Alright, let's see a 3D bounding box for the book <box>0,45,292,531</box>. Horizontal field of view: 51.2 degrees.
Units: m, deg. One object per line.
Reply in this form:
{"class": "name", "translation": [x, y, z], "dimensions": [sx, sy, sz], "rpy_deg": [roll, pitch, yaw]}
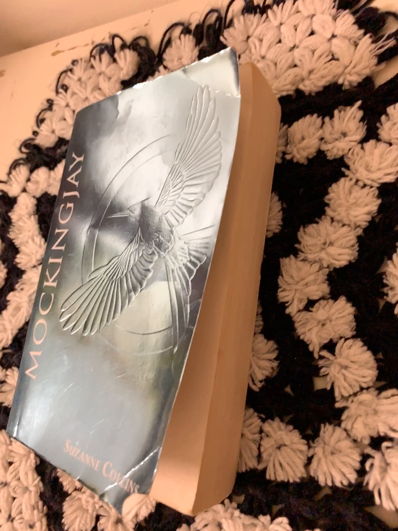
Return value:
{"class": "book", "translation": [-0.035, 0.001, 0.208], "dimensions": [0.136, 0.036, 0.193], "rpy_deg": [2, 76, 31]}
